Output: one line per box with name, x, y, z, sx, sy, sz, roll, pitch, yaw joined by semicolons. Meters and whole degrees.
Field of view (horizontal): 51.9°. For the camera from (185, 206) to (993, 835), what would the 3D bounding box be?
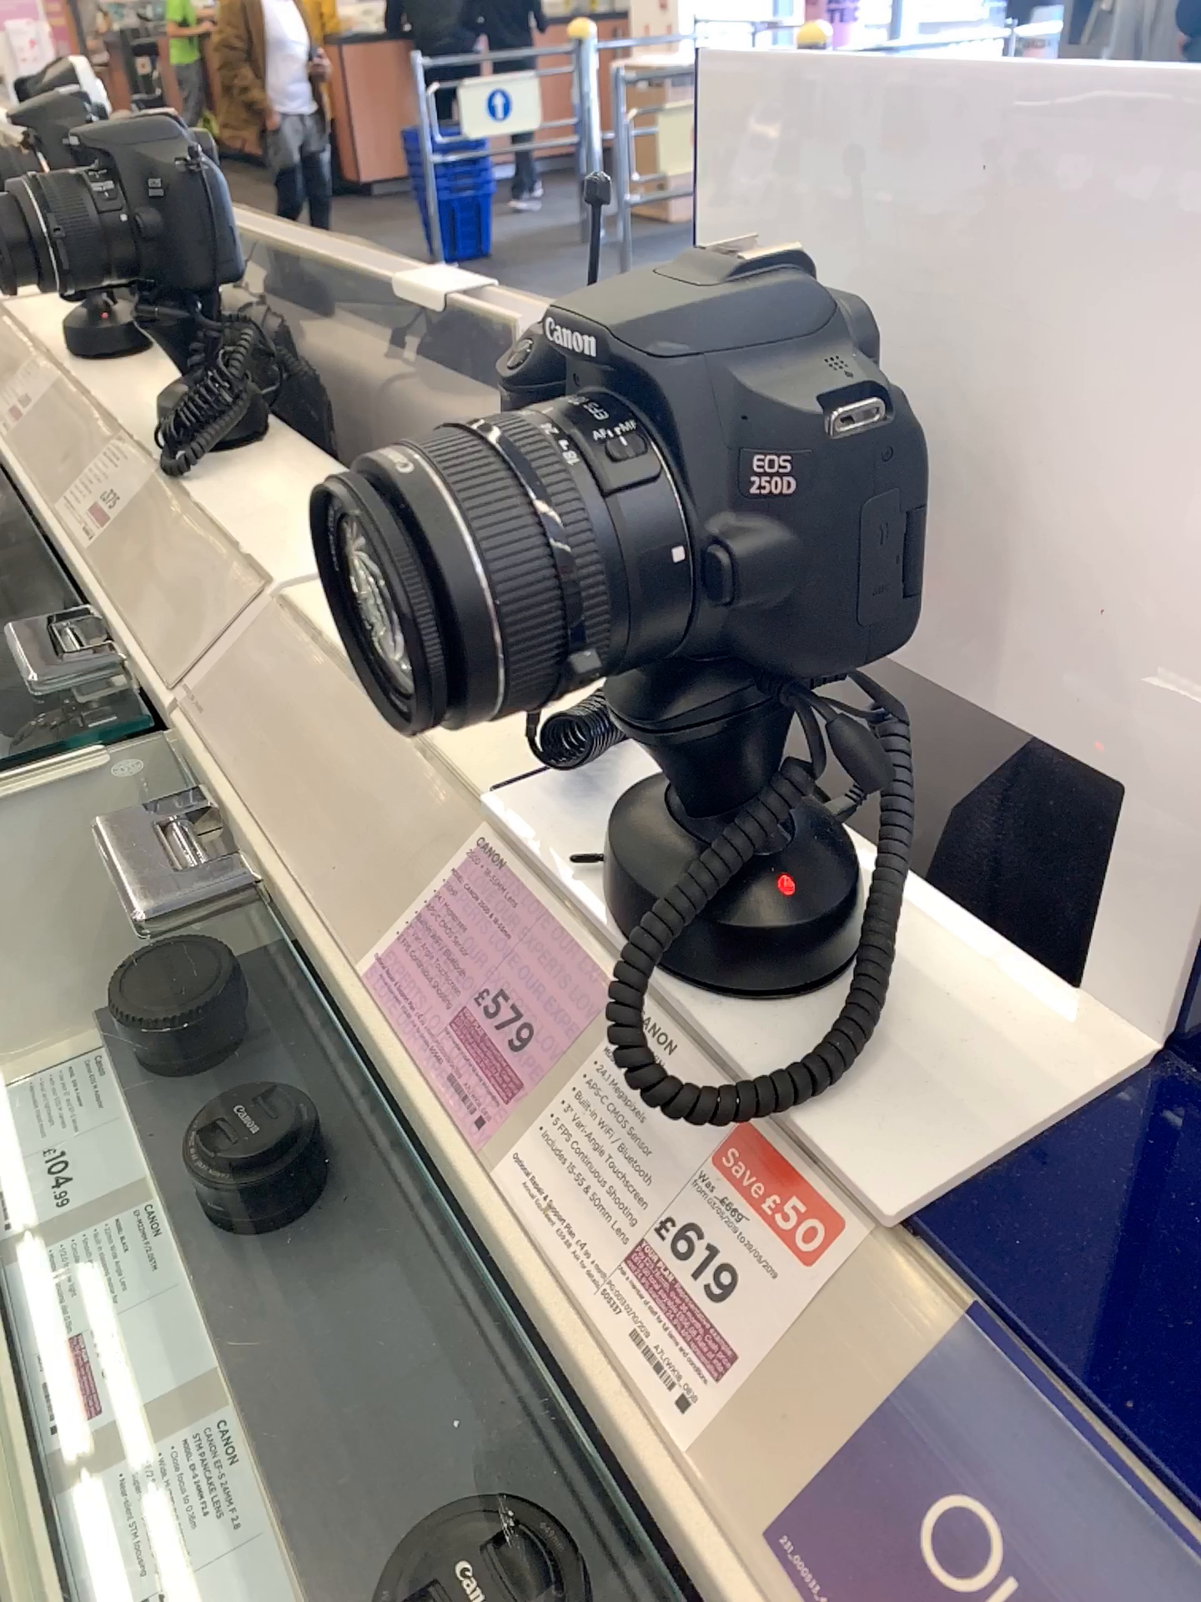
camera;-0.005;-0.081;0.302;0.140;0.089;0.121;-22;38;-25
